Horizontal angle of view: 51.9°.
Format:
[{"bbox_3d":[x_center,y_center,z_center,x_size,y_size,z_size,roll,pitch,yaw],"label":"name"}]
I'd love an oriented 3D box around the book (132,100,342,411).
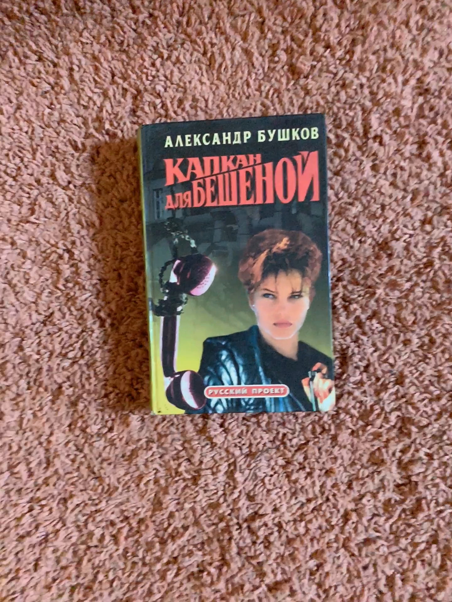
[{"bbox_3d":[0.008,-0.027,0.306,0.124,0.027,0.190,-2,92,4],"label":"book"}]
